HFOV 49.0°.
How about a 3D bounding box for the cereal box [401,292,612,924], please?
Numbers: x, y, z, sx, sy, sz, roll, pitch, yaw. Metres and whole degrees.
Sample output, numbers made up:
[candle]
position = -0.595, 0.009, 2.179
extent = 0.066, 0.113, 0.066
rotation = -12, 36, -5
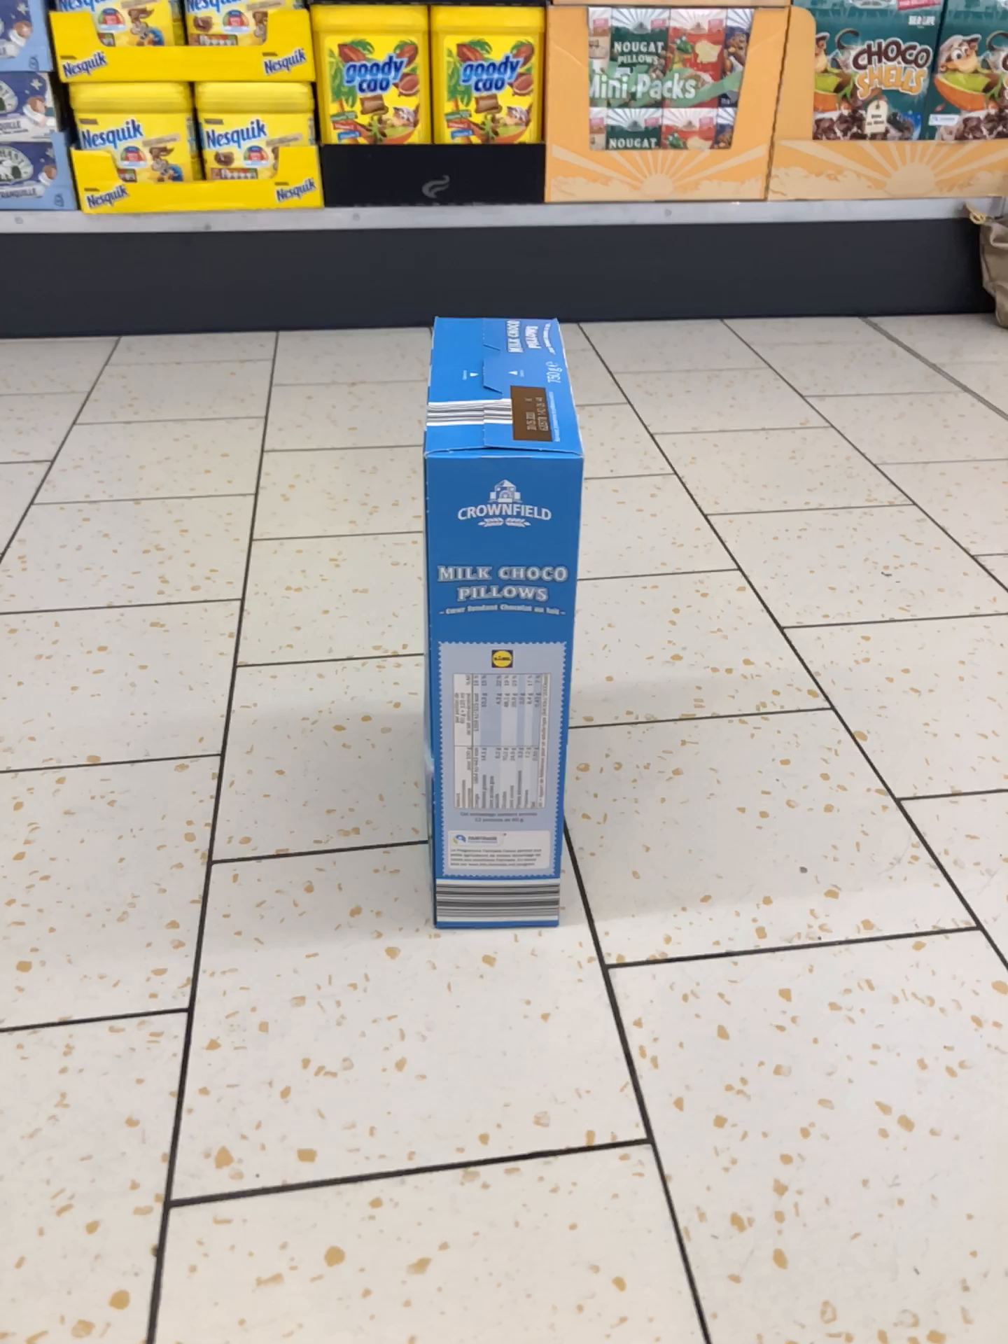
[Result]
[cereal box]
position = 0.000, -0.039, 0.578
extent = 0.080, 0.258, 0.211
rotation = 0, 32, 0
